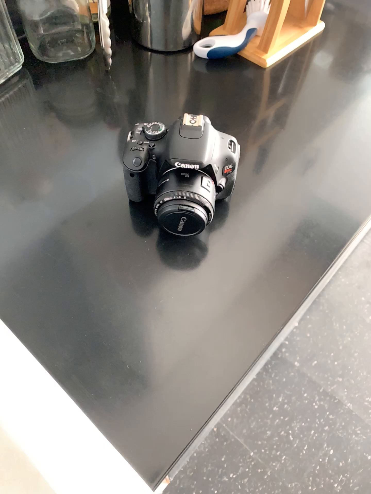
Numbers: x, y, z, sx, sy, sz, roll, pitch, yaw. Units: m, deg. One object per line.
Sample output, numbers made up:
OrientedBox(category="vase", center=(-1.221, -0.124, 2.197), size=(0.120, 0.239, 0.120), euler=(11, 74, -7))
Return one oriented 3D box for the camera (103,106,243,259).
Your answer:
OrientedBox(category="camera", center=(-0.008, -0.079, 0.469), size=(0.140, 0.100, 0.145), euler=(6, 57, 3))
